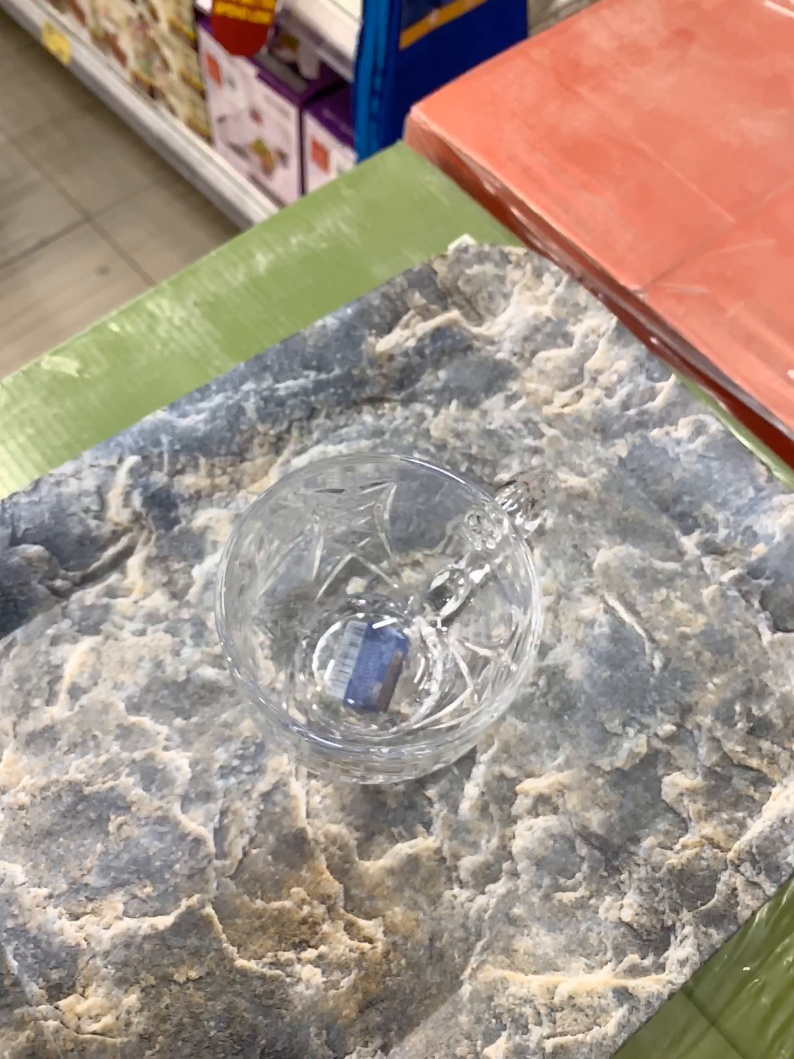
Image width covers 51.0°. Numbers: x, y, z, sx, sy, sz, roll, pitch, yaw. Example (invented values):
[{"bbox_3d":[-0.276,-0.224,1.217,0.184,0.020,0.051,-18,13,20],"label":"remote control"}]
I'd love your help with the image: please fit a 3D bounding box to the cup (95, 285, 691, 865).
[{"bbox_3d":[0.000,0.013,0.207,0.080,0.070,0.100,40,69,13],"label":"cup"}]
